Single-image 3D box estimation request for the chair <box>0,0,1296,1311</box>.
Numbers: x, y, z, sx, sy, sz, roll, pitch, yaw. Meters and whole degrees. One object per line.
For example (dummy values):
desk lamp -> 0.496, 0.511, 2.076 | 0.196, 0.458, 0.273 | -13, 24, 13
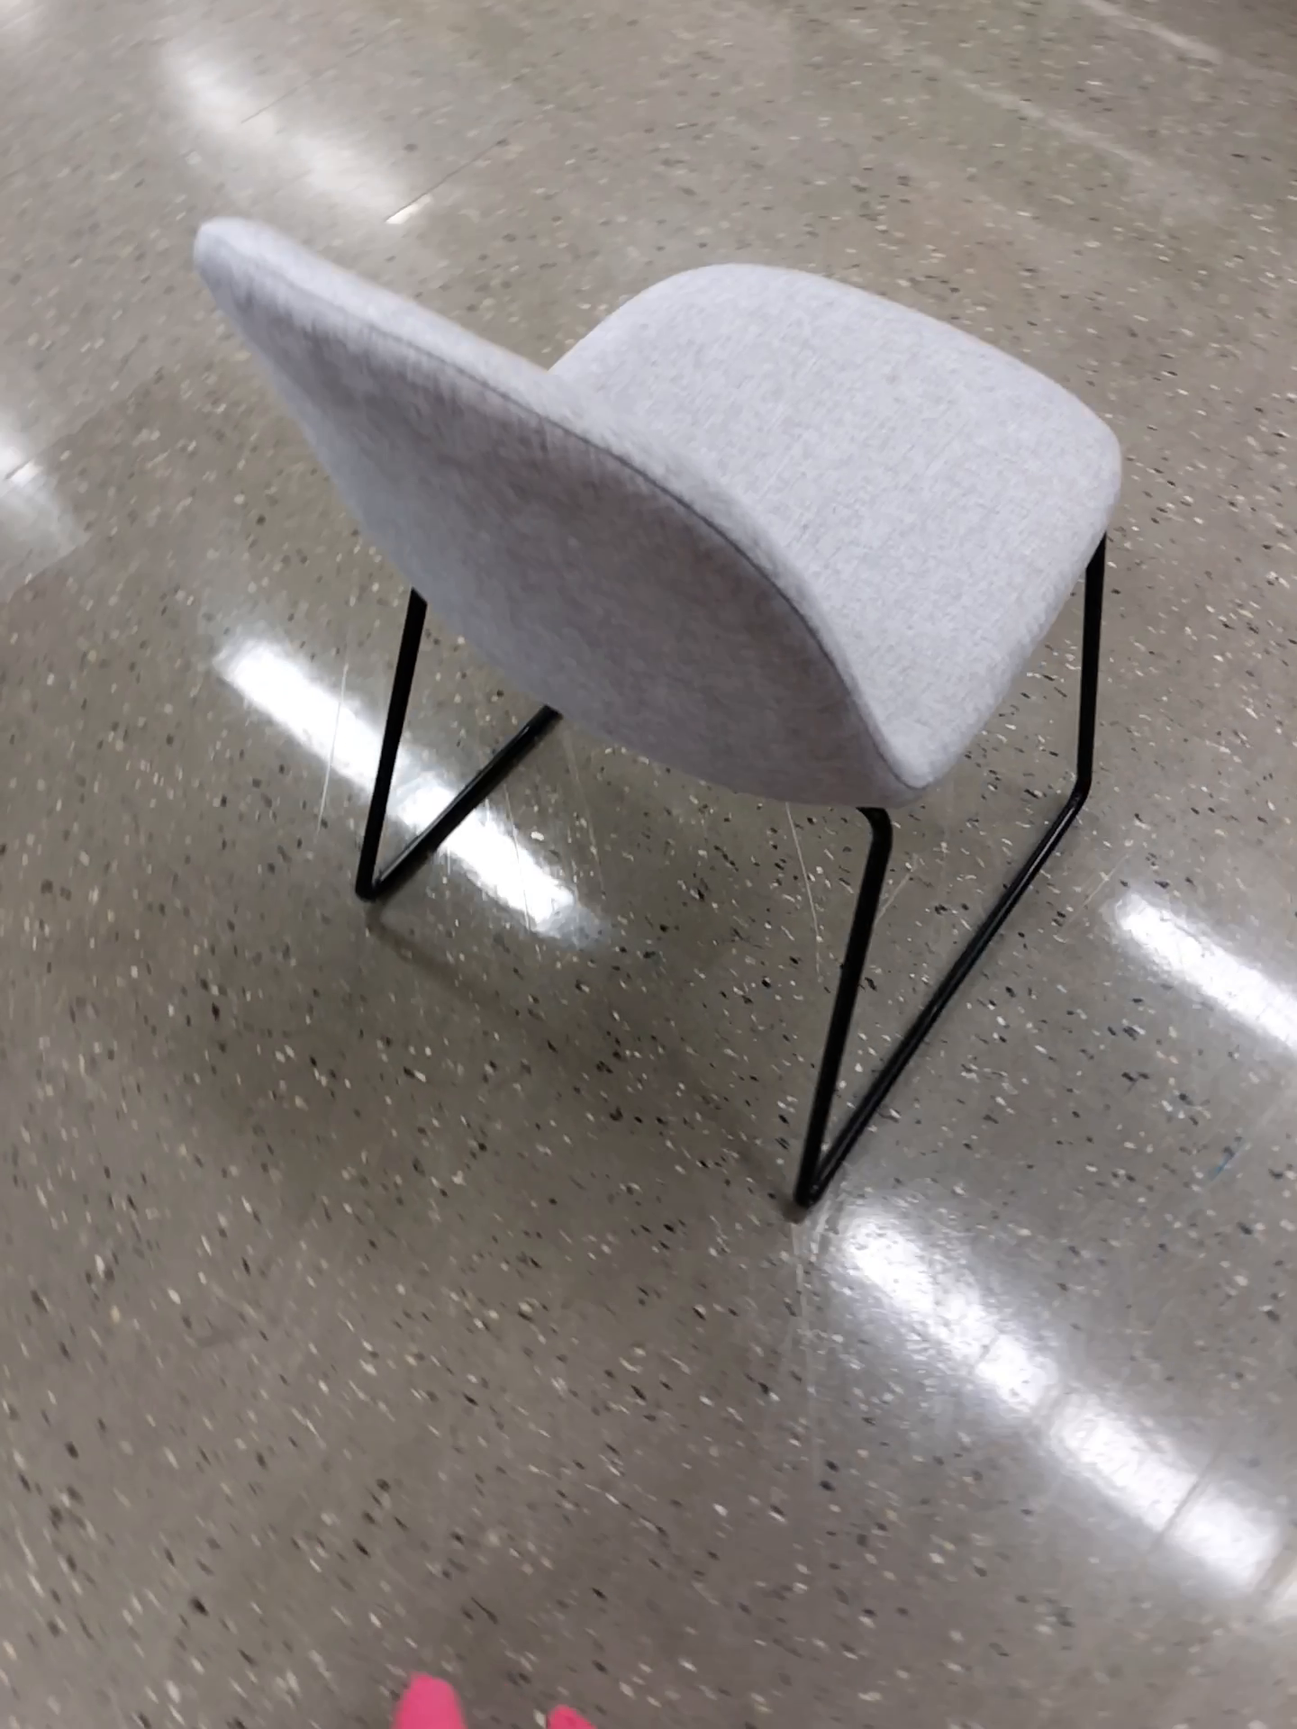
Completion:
chair -> 0.091, -0.191, 0.985 | 0.591, 0.779, 0.580 | 34, 68, 19
